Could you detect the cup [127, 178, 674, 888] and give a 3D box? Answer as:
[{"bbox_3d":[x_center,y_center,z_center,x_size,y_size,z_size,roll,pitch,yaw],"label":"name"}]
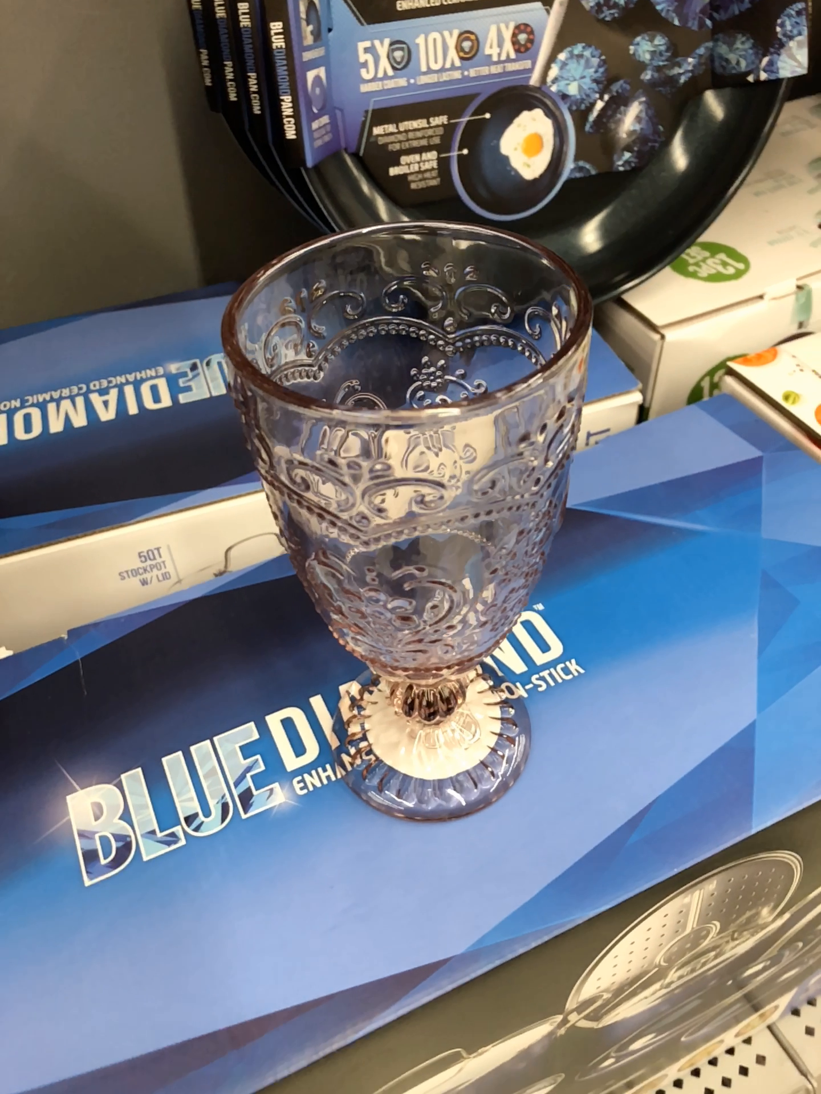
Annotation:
[{"bbox_3d":[0.003,0.002,0.266,0.089,0.168,0.086,-3,45,3],"label":"cup"}]
